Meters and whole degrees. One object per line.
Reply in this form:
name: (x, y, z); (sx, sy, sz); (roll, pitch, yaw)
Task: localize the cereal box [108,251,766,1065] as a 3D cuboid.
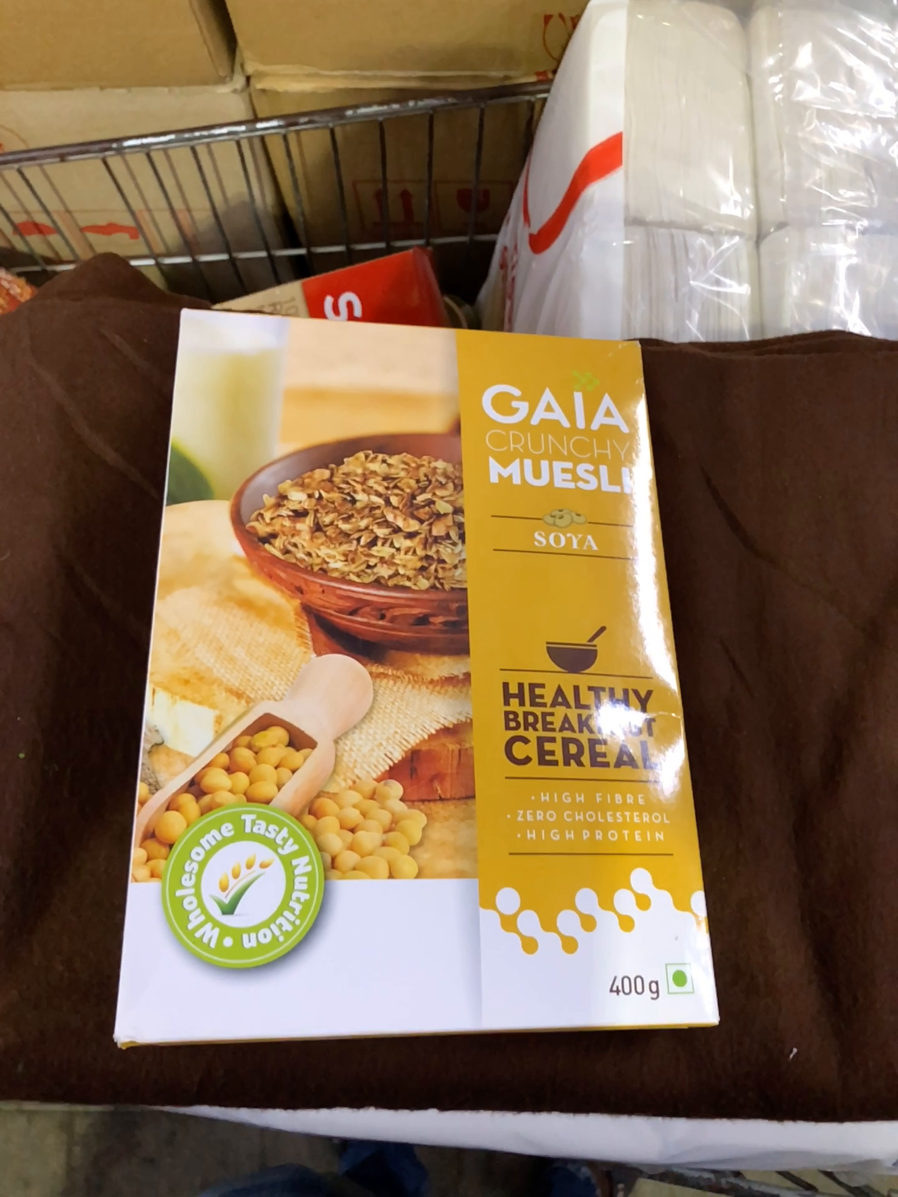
cereal box: (-0.006, 0.013, 0.324); (0.170, 0.060, 0.241); (2, 70, -9)
